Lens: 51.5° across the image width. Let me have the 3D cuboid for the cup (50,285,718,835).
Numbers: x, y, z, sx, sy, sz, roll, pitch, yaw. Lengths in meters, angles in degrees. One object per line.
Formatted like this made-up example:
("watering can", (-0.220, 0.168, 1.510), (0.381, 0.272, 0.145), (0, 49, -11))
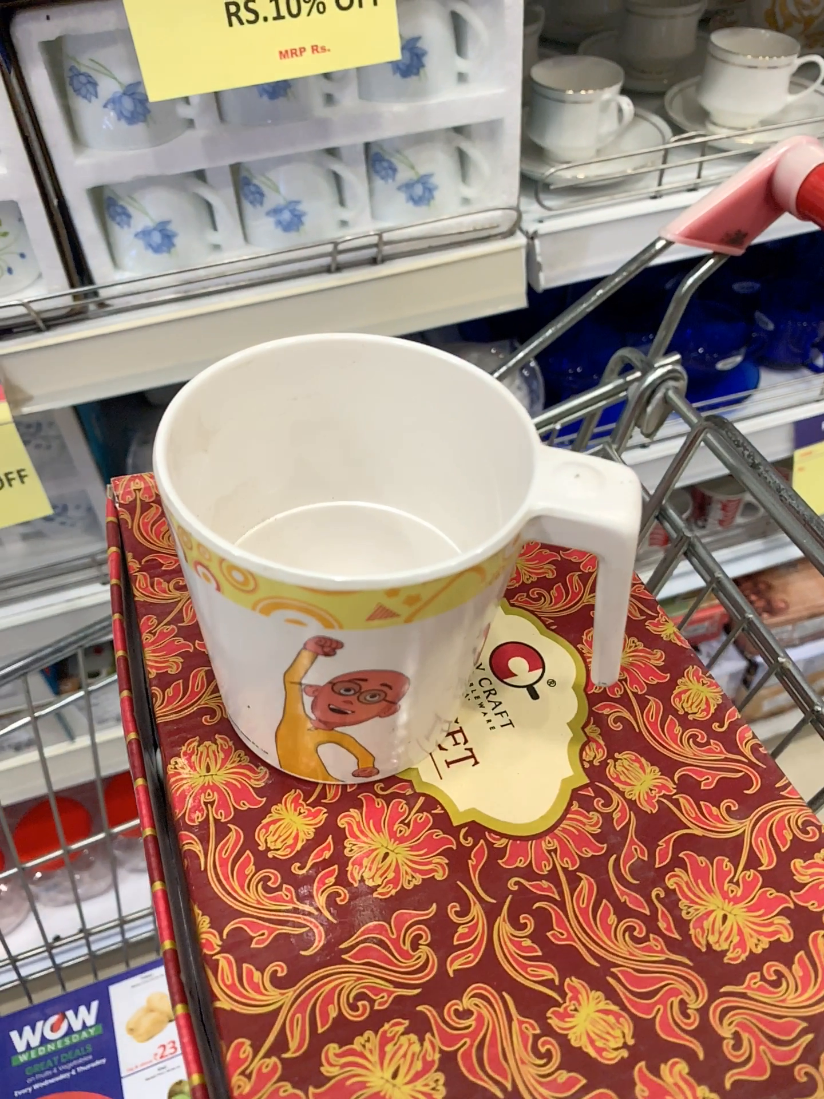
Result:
("cup", (-0.002, 0.002, 0.195), (0.110, 0.080, 0.080), (7, 48, 4))
